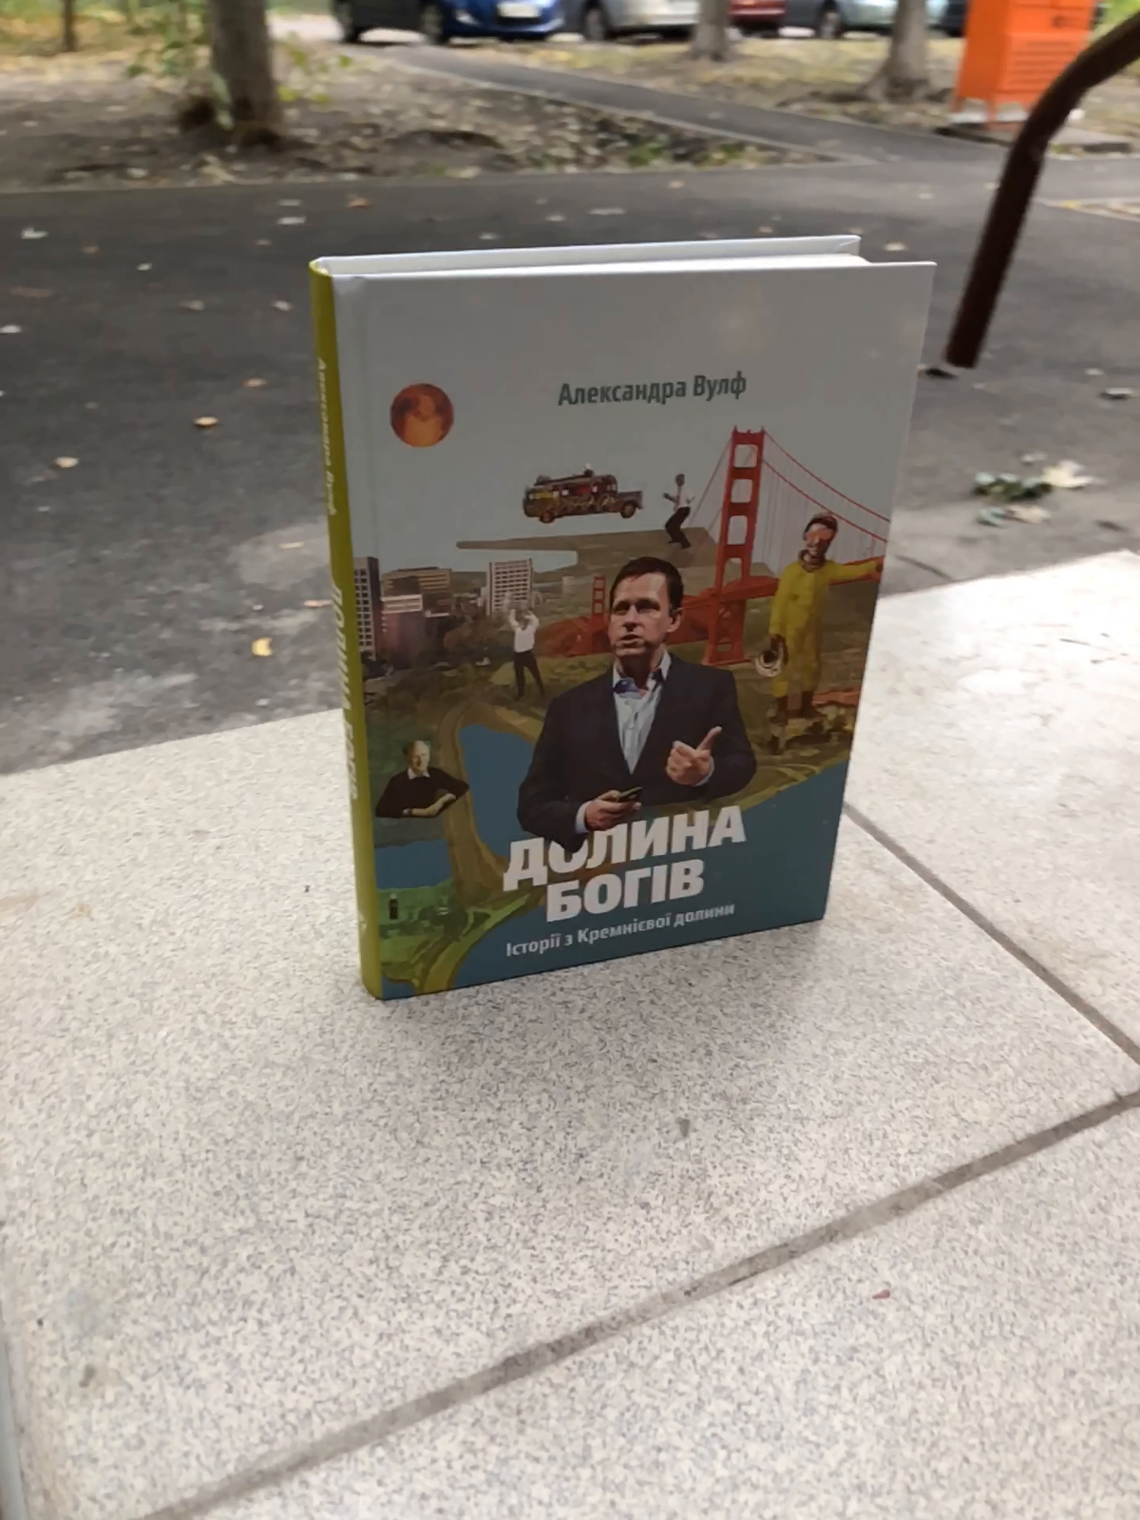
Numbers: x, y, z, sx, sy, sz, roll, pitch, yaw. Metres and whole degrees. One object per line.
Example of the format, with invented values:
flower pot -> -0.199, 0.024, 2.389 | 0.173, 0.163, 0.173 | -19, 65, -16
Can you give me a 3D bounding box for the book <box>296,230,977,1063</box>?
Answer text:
book -> 0.018, -0.030, 0.352 | 0.160, 0.208, 0.045 | -12, 31, -20
